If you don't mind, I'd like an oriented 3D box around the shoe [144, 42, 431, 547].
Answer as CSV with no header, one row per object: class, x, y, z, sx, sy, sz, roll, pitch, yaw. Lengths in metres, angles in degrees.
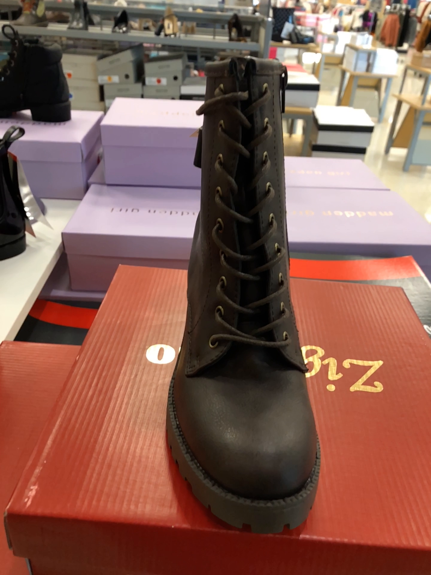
shoe,0.015,-0.019,0.302,0.100,0.218,0.242,1,31,-5
